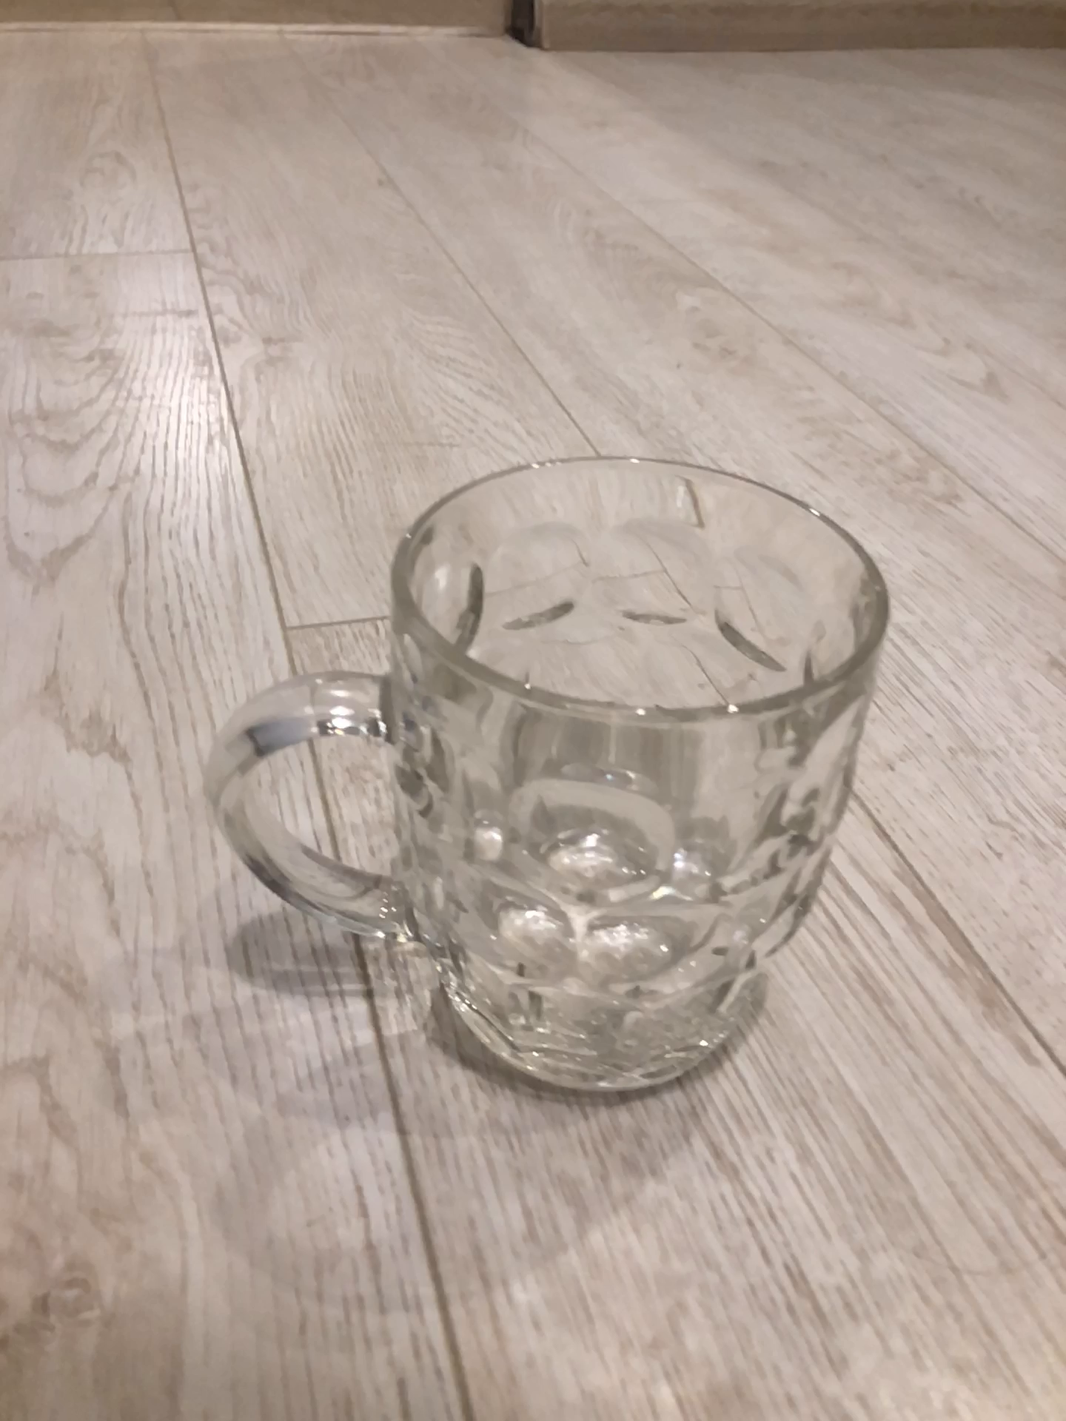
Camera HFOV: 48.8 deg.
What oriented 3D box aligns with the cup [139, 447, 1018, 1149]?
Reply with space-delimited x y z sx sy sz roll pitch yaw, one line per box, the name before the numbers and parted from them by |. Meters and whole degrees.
cup | 0.003 0.015 0.257 0.140 0.109 0.101 -1 36 -6
